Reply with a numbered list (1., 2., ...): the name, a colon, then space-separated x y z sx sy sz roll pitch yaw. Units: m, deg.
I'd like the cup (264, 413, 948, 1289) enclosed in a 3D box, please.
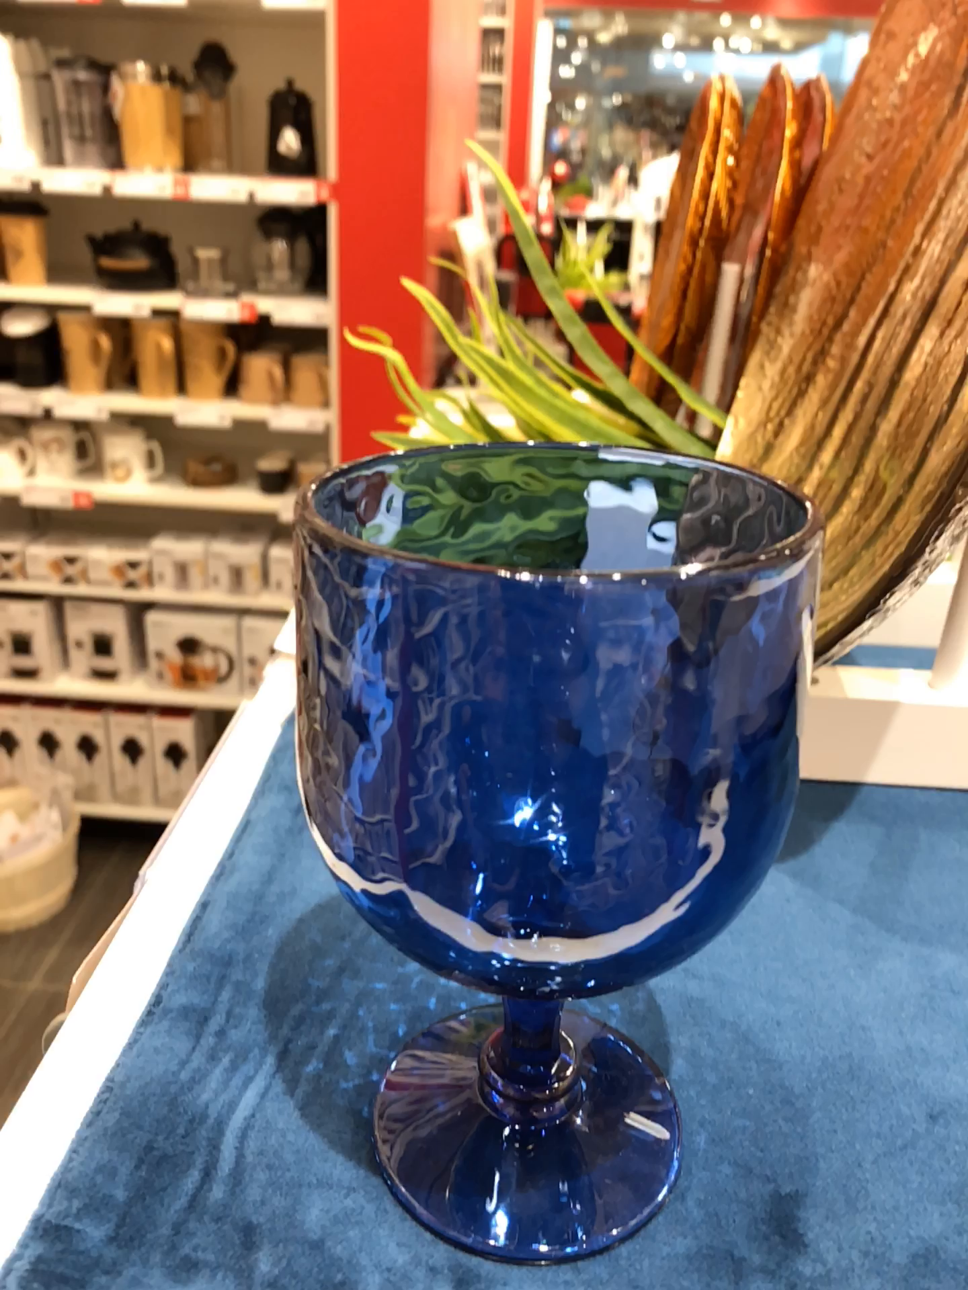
1. cup: 0.009 0.036 0.202 0.090 0.140 0.080 -3 24 -11
